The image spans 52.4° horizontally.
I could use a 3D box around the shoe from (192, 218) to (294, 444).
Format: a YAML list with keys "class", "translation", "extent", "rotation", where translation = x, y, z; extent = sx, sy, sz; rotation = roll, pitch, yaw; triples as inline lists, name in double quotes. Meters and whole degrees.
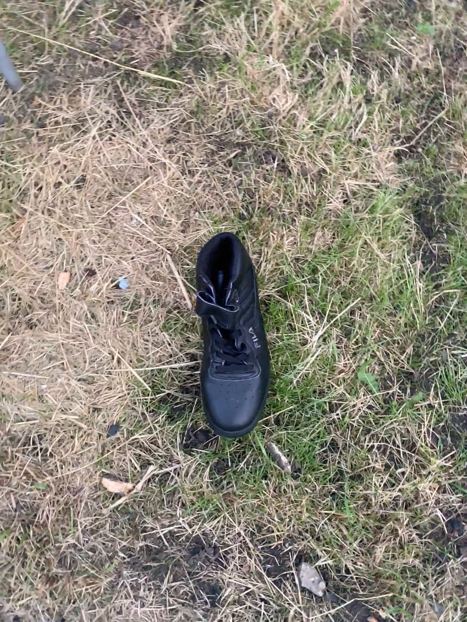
- class: "shoe"
  translation: [0.002, 0.032, 0.610]
  extent: [0.100, 0.140, 0.261]
  rotation: [-2, 73, -5]
